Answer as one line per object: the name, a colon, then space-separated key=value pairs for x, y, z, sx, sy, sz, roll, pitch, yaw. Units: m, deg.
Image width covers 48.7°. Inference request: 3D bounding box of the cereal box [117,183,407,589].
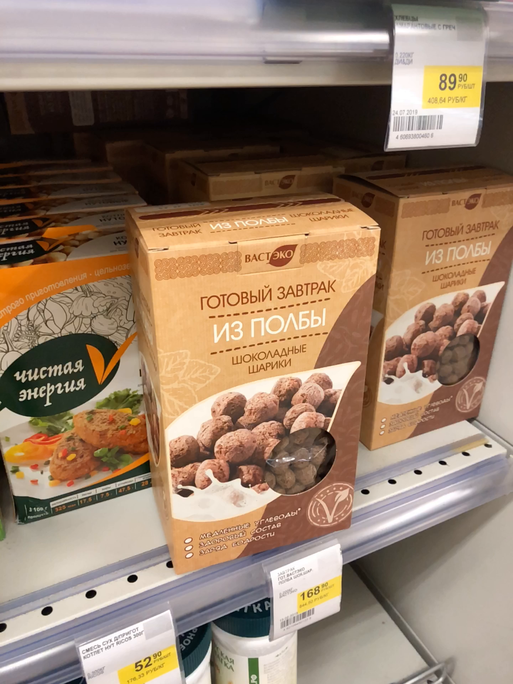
cereal box: x=-0.002 y=0.023 z=0.337 sx=0.130 sy=0.209 sz=0.080 roll=-8 pitch=27 yaw=-18
